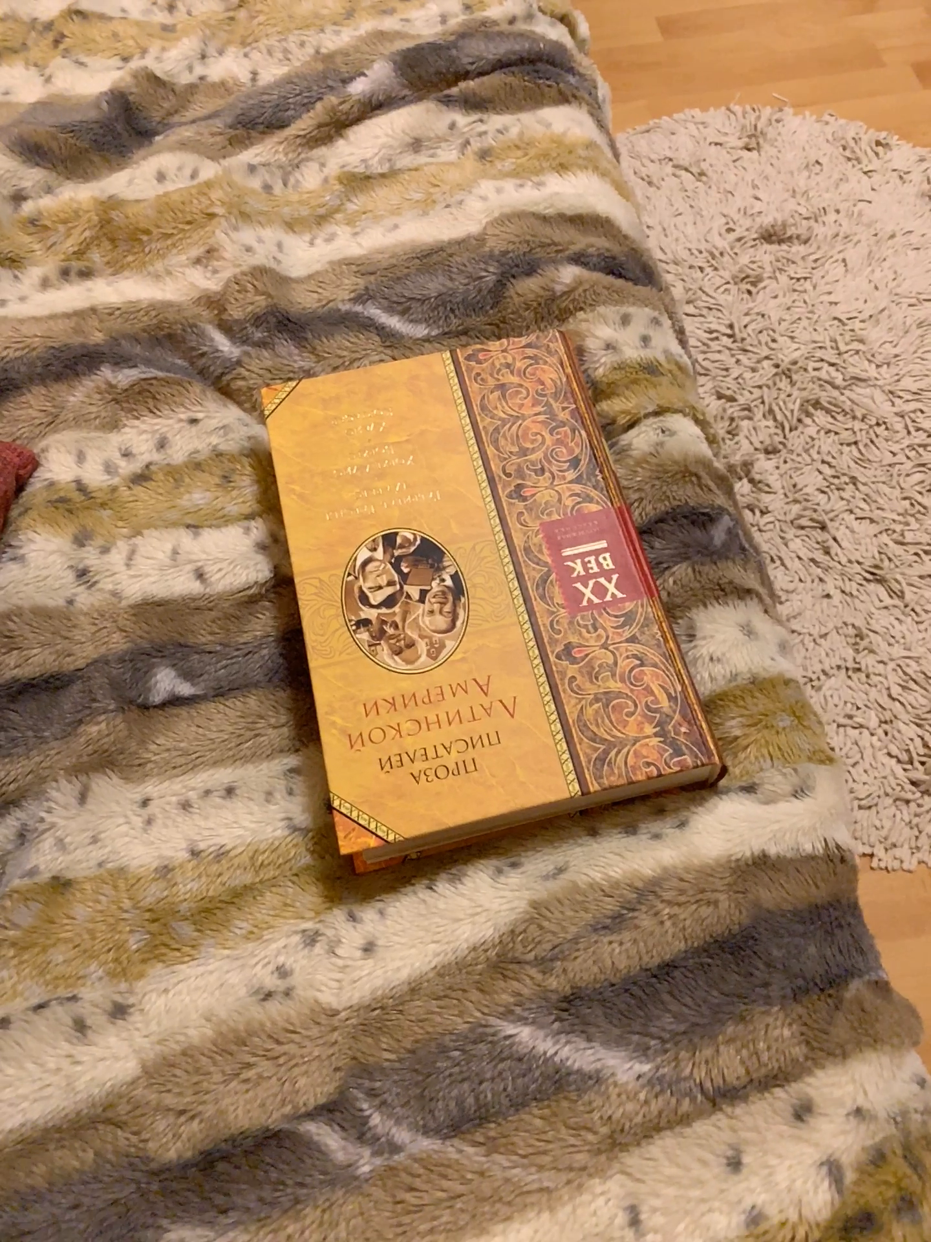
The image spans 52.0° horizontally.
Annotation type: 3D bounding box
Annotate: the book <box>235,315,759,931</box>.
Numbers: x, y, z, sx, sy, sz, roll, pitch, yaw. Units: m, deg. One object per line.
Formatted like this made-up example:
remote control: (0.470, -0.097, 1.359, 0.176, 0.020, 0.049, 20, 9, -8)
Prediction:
book: (0.000, -0.013, 0.466, 0.180, 0.060, 0.271, -13, 63, -5)
